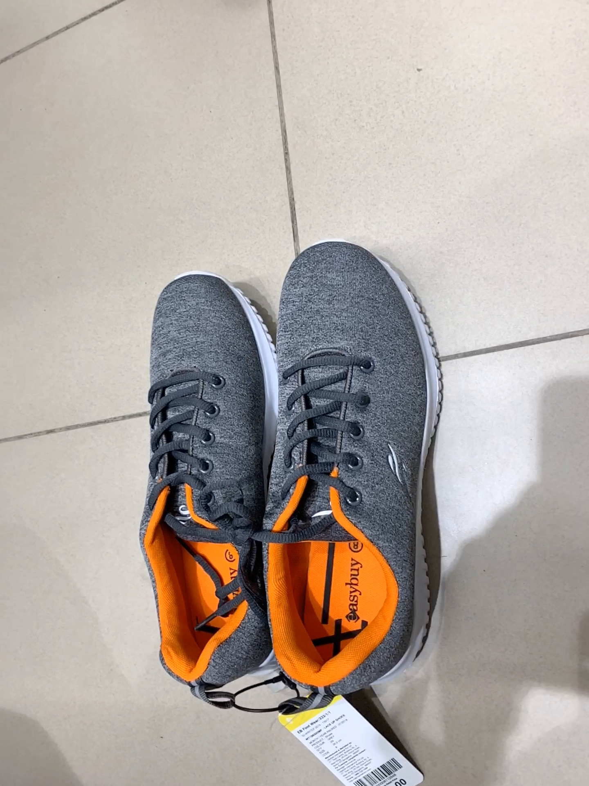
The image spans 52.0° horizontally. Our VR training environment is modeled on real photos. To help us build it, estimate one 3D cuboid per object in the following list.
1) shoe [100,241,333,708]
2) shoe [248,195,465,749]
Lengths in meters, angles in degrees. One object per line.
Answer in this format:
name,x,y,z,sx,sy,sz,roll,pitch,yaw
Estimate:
shoe,-0.055,0.054,0.421,0.100,0.090,0.280,-12,78,22
shoe,0.040,0.043,0.390,0.100,0.090,0.300,-6,80,23
